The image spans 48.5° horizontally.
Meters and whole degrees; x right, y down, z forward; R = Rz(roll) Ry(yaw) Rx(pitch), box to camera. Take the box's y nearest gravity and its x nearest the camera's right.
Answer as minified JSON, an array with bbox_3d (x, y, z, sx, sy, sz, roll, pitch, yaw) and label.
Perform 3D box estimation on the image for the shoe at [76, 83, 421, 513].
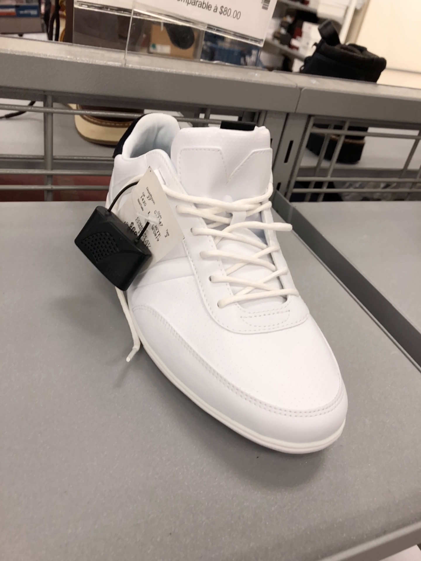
[{"bbox_3d":[0.003,-0.024,0.305,0.110,0.119,0.272,-7,39,-28],"label":"shoe"}]
